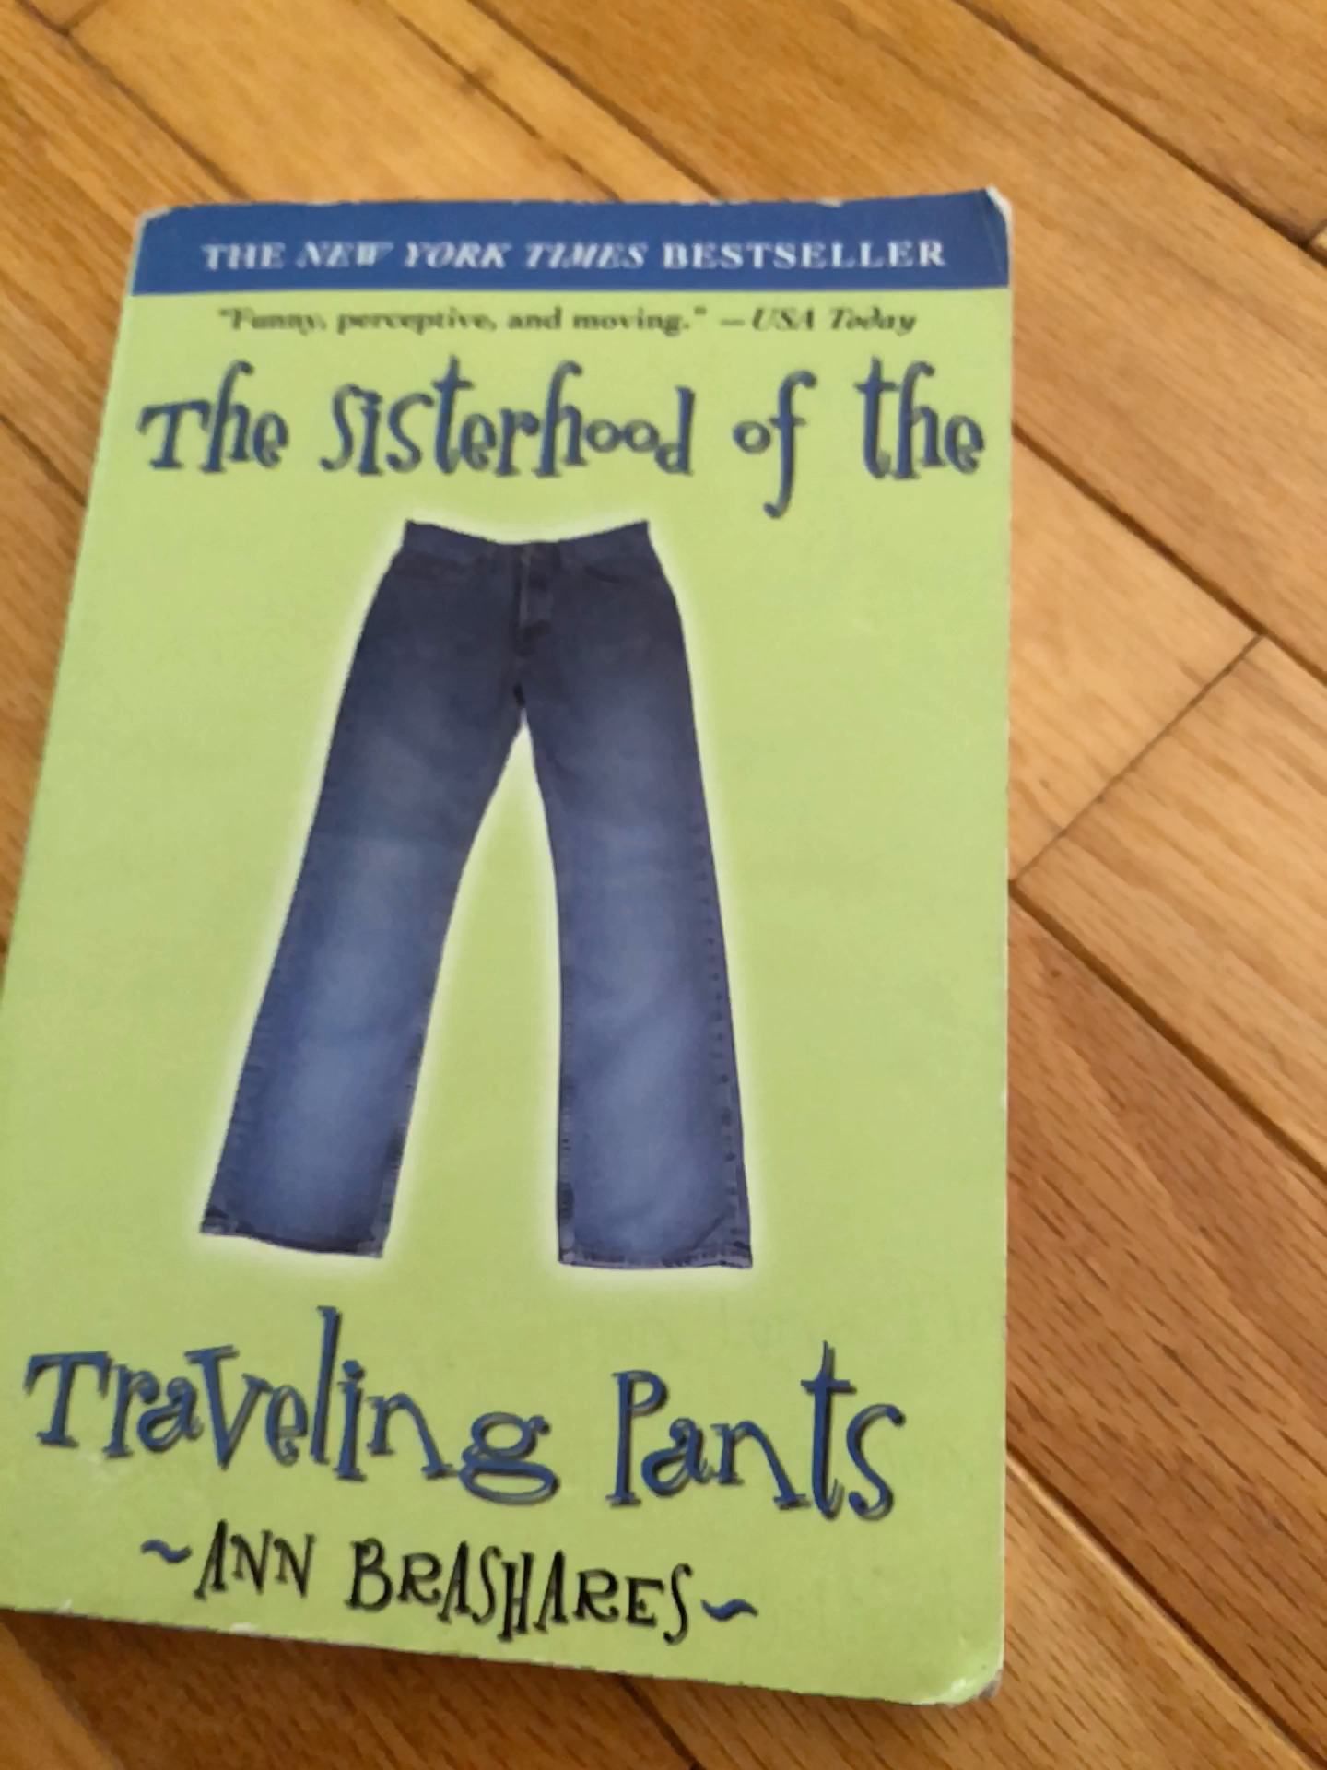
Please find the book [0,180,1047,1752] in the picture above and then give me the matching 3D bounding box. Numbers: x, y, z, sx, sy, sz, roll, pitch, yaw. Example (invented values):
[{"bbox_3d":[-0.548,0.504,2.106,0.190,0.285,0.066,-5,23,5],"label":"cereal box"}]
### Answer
[{"bbox_3d":[-0.020,-0.004,0.213,0.141,0.025,0.209,2,73,6],"label":"book"}]
